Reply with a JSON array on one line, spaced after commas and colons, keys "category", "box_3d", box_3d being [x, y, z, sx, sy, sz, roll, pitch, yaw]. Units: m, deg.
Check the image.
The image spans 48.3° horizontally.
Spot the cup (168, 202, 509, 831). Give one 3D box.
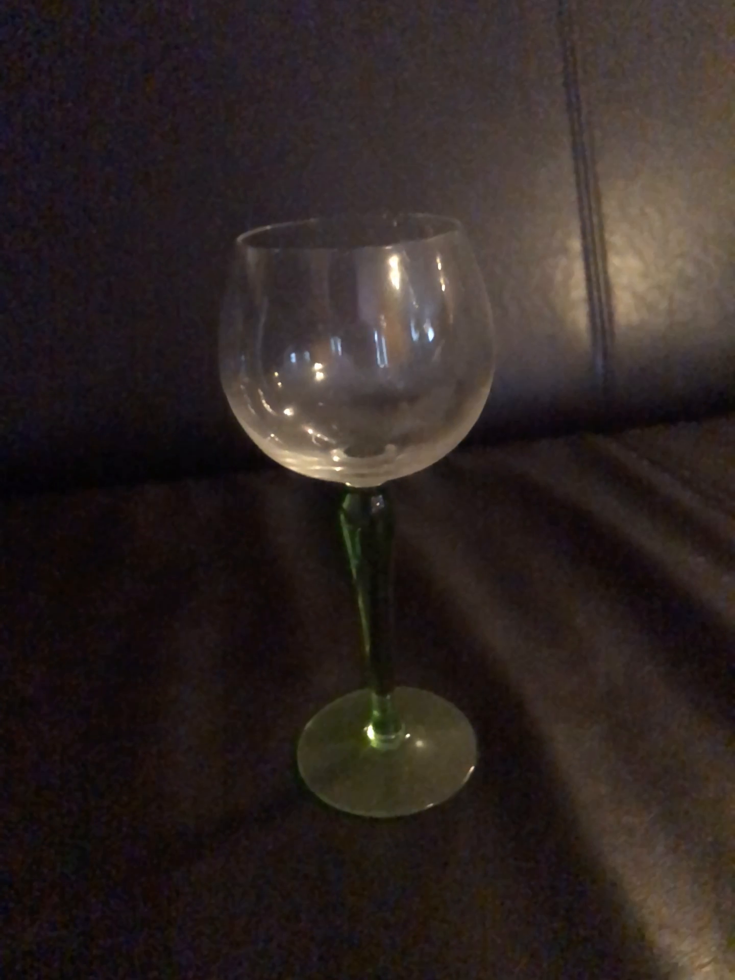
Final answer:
[{"category": "cup", "box_3d": [-0.002, 0.009, 0.271, 0.080, 0.185, 0.080, -4, 23, 2]}]
